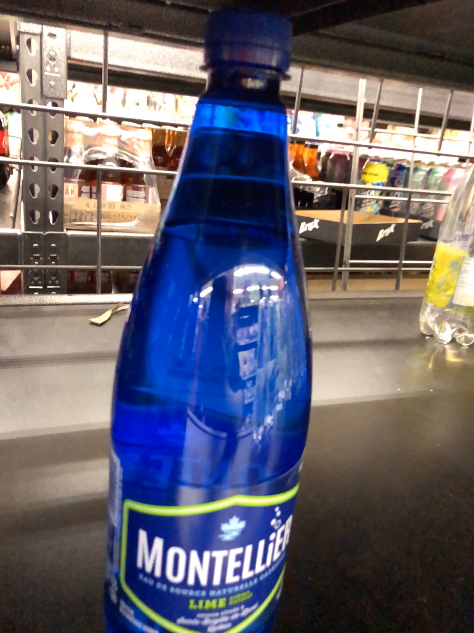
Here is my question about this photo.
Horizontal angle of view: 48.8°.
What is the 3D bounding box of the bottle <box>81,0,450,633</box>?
[{"bbox_3d":[-0.012,0.019,0.227,0.100,0.288,0.090,-1,20,-20],"label":"bottle"}]
